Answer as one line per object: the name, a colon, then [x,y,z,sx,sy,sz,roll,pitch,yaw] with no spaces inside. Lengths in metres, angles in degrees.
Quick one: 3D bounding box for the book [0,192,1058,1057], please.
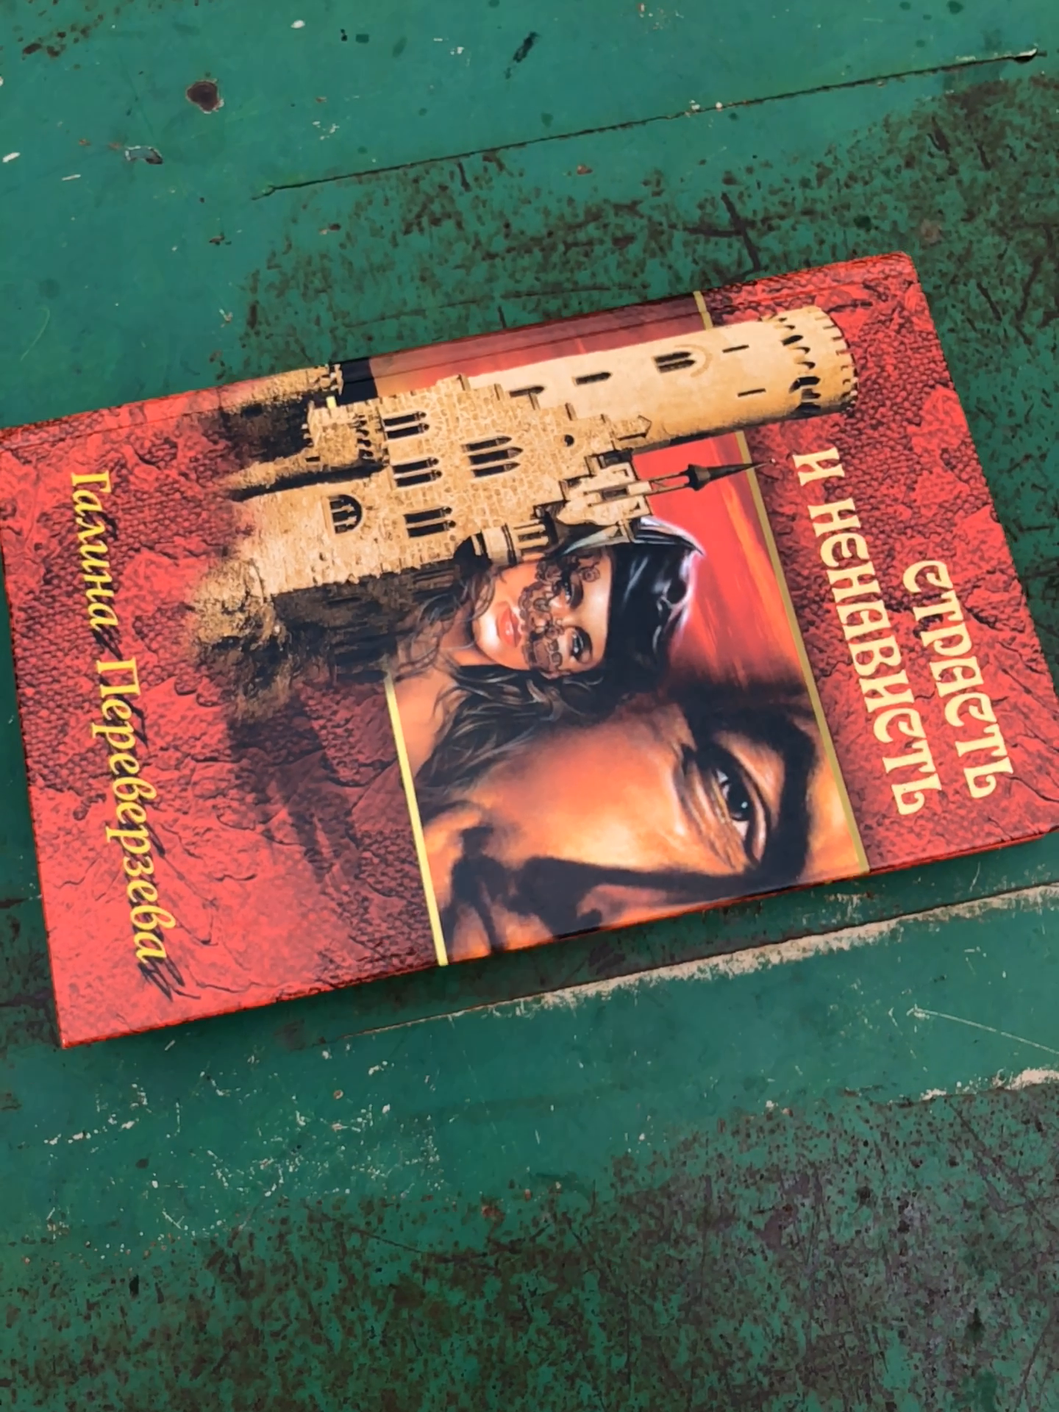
book: [-0.001,-0.021,0.257,0.210,0.030,0.144,-12,78,-3]
